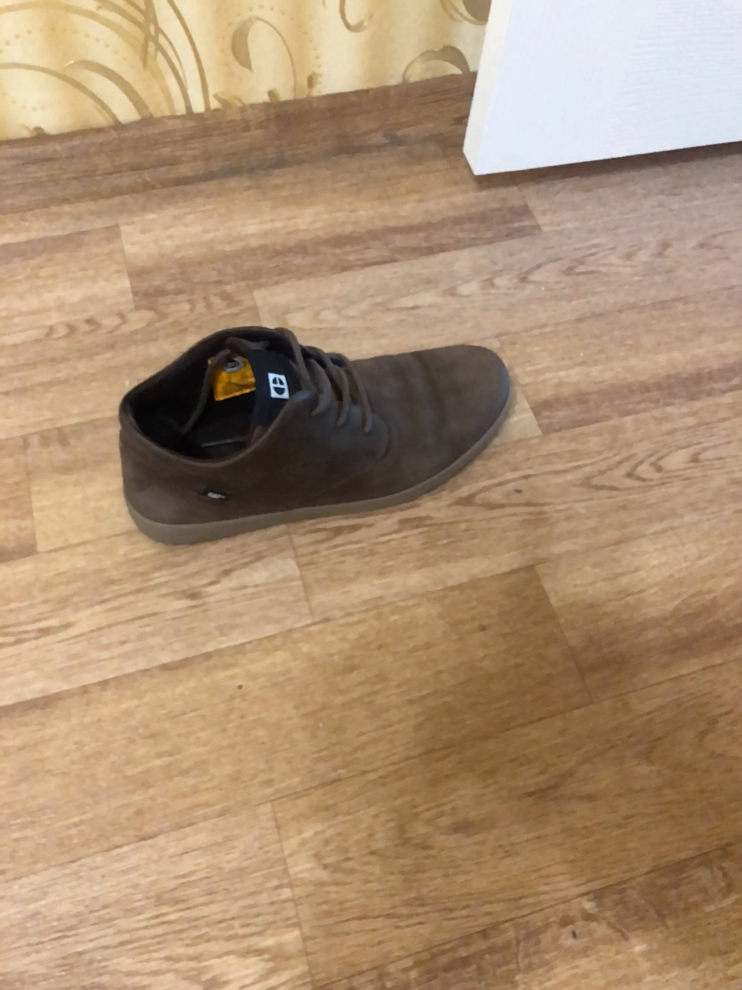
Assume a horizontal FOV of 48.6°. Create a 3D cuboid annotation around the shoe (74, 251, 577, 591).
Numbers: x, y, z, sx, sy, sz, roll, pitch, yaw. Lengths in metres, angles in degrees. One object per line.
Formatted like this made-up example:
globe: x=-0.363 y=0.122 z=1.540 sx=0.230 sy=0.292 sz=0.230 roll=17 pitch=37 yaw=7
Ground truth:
shoe: x=-0.027 y=-0.048 z=0.519 sx=0.270 sy=0.110 sz=0.100 roll=-18 pitch=63 yaw=-13
